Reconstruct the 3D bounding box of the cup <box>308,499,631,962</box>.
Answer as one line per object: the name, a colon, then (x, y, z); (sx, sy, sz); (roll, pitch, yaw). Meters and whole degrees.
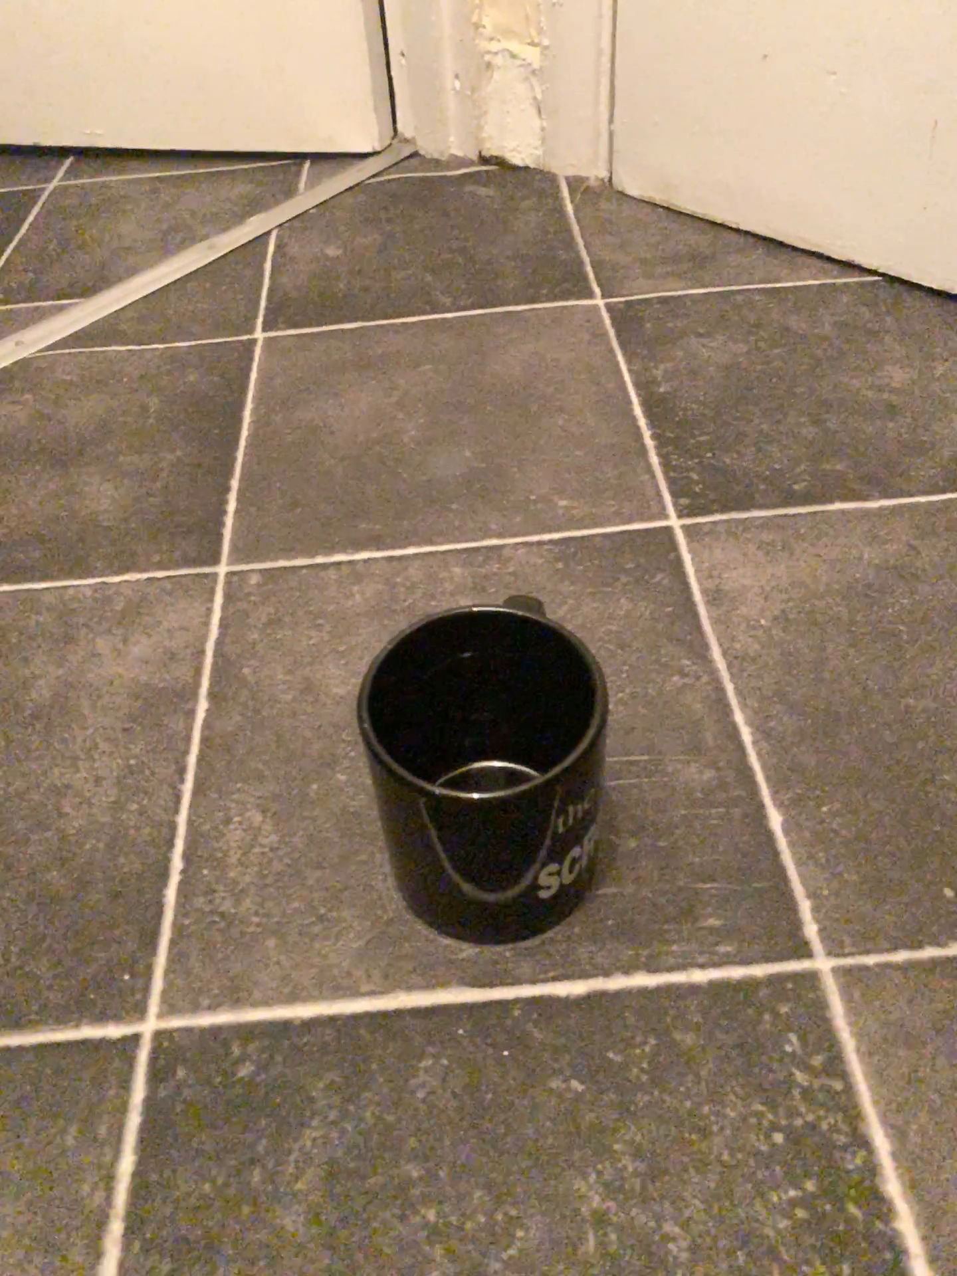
cup: (0.006, 0.030, 0.360); (0.090, 0.099, 0.131); (3, 46, 8)
